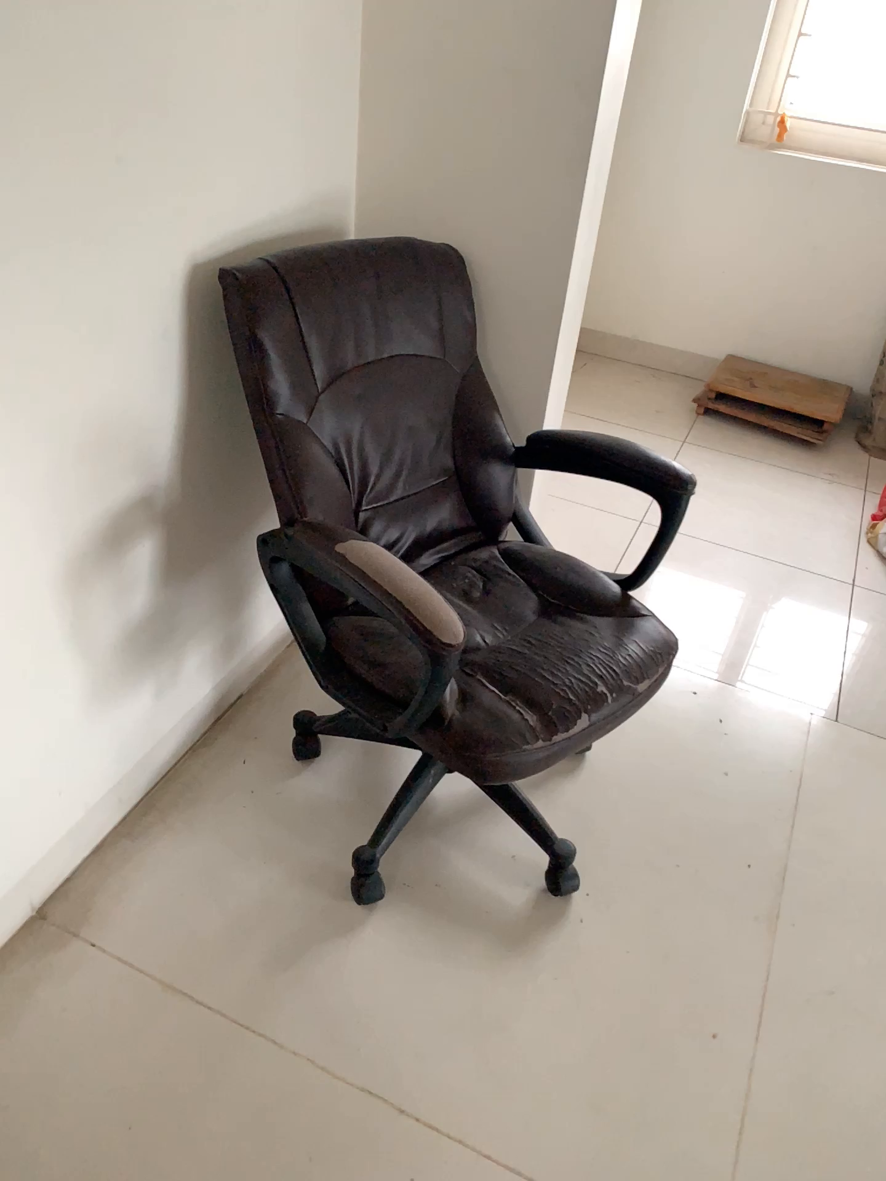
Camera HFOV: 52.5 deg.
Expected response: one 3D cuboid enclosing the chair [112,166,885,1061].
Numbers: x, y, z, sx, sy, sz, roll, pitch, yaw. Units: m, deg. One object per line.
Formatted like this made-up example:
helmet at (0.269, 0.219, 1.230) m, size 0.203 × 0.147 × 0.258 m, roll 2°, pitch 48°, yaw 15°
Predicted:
chair at (0.048, -0.028, 1.444) m, size 0.701 × 0.996 × 0.792 m, roll -25°, pitch 47°, yaw -36°
